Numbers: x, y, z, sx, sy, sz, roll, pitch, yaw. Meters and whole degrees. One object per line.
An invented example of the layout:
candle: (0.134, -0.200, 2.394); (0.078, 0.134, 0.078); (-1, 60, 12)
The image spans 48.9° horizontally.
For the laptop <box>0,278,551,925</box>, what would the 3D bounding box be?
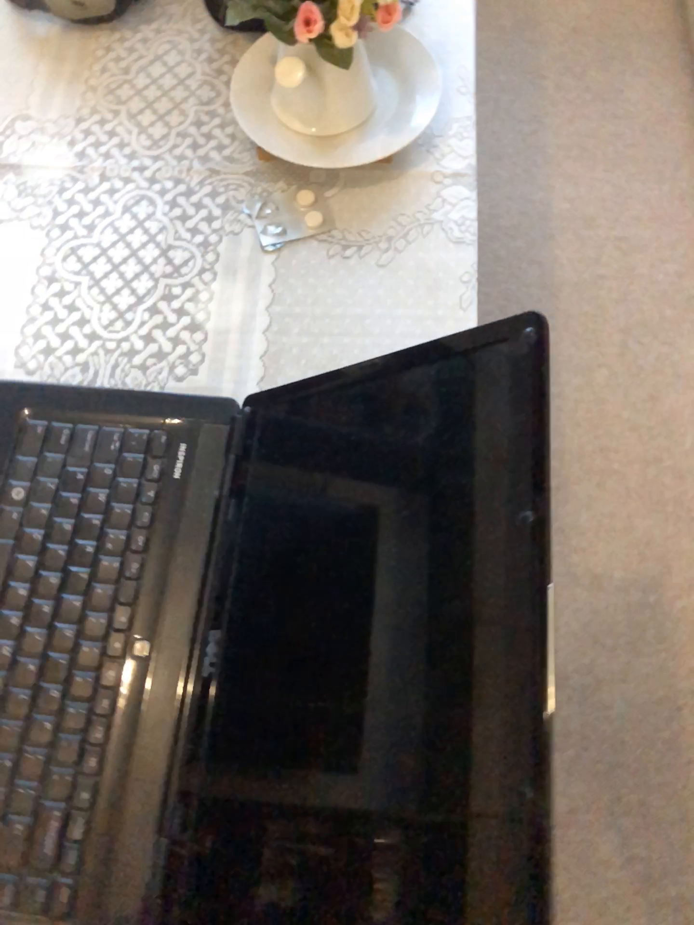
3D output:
laptop: (-0.109, 0.089, 0.437); (0.418, 0.122, 0.364); (3, 68, 5)
